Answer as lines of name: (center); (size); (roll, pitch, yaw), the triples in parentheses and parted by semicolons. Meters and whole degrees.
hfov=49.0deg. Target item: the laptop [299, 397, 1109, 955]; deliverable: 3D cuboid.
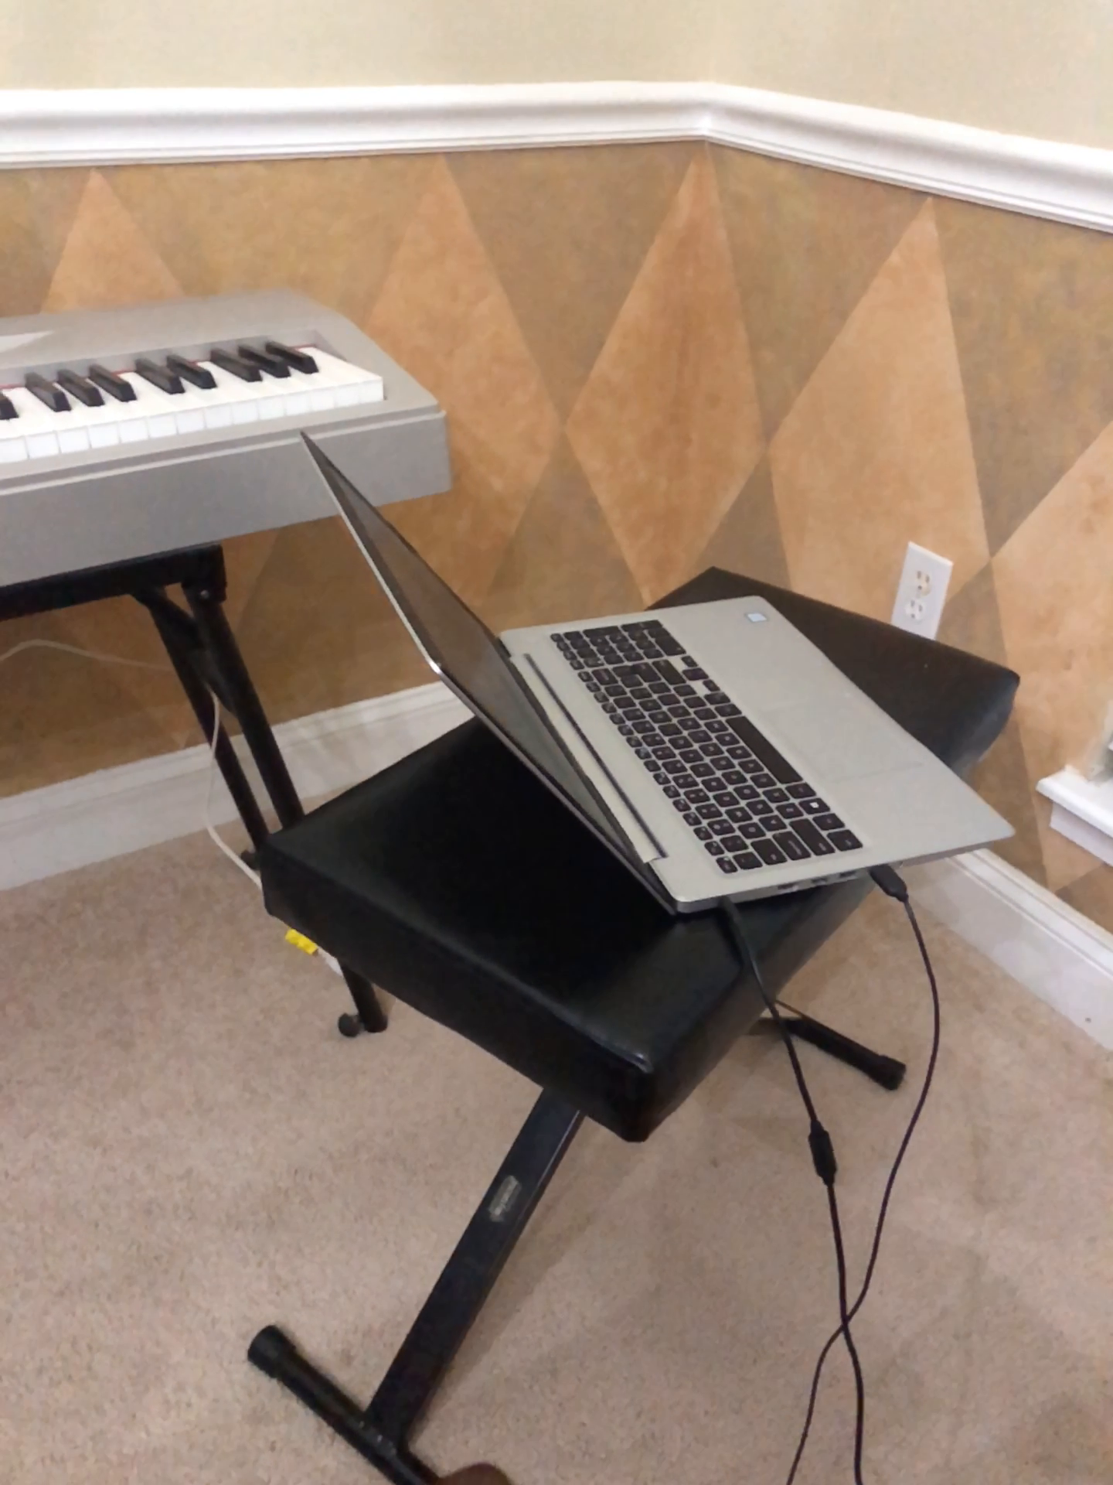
laptop: (0.065, -0.084, 0.853); (0.408, 0.183, 0.376); (-9, 34, -18)
